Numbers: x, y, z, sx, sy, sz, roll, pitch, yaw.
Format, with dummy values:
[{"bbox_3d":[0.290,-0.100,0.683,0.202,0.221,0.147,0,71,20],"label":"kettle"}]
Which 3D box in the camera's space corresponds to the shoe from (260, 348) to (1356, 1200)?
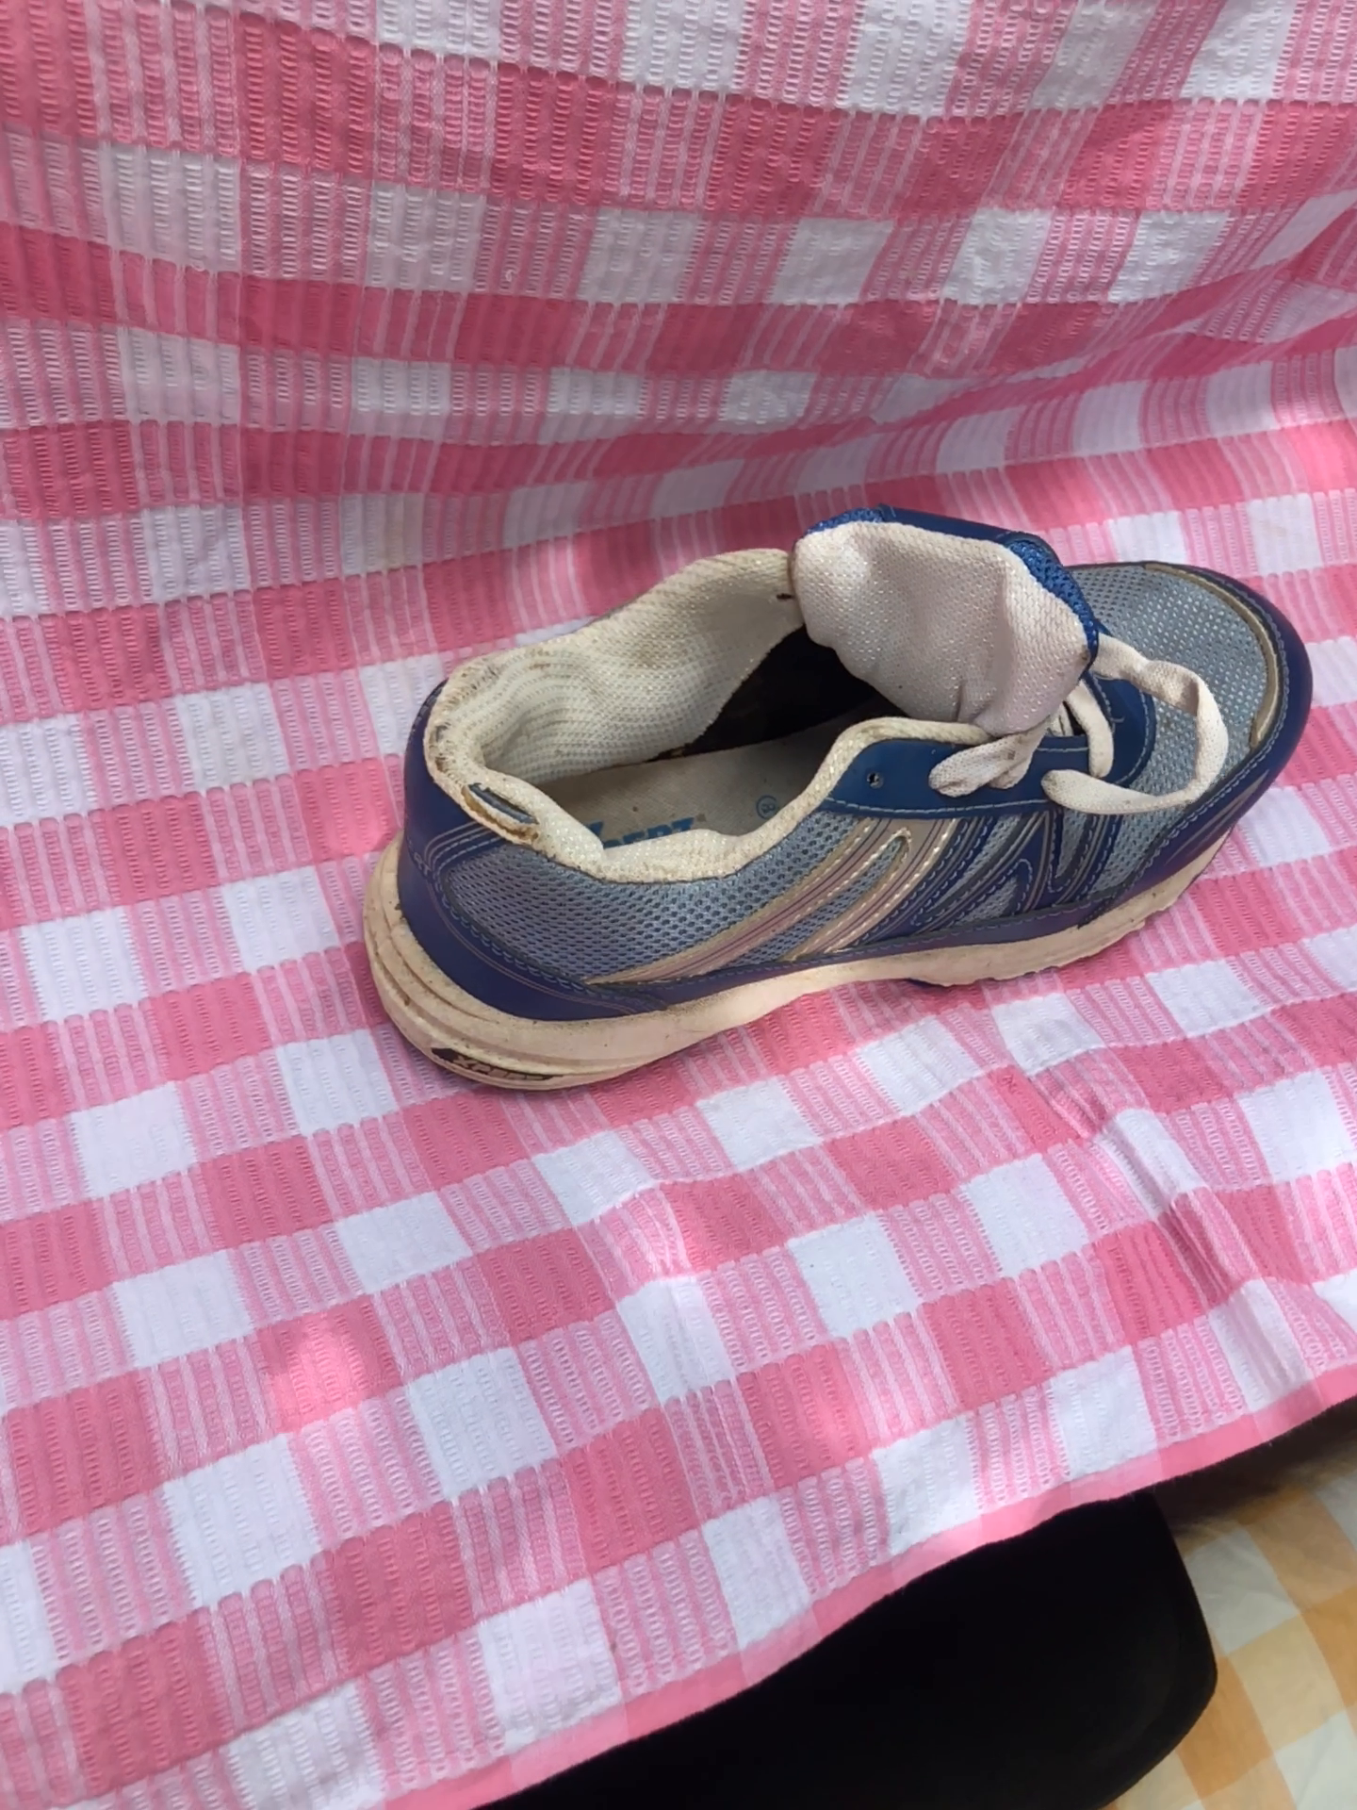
[{"bbox_3d":[0.056,-0.040,0.377,0.281,0.100,0.110,-16,59,-16],"label":"shoe"}]
